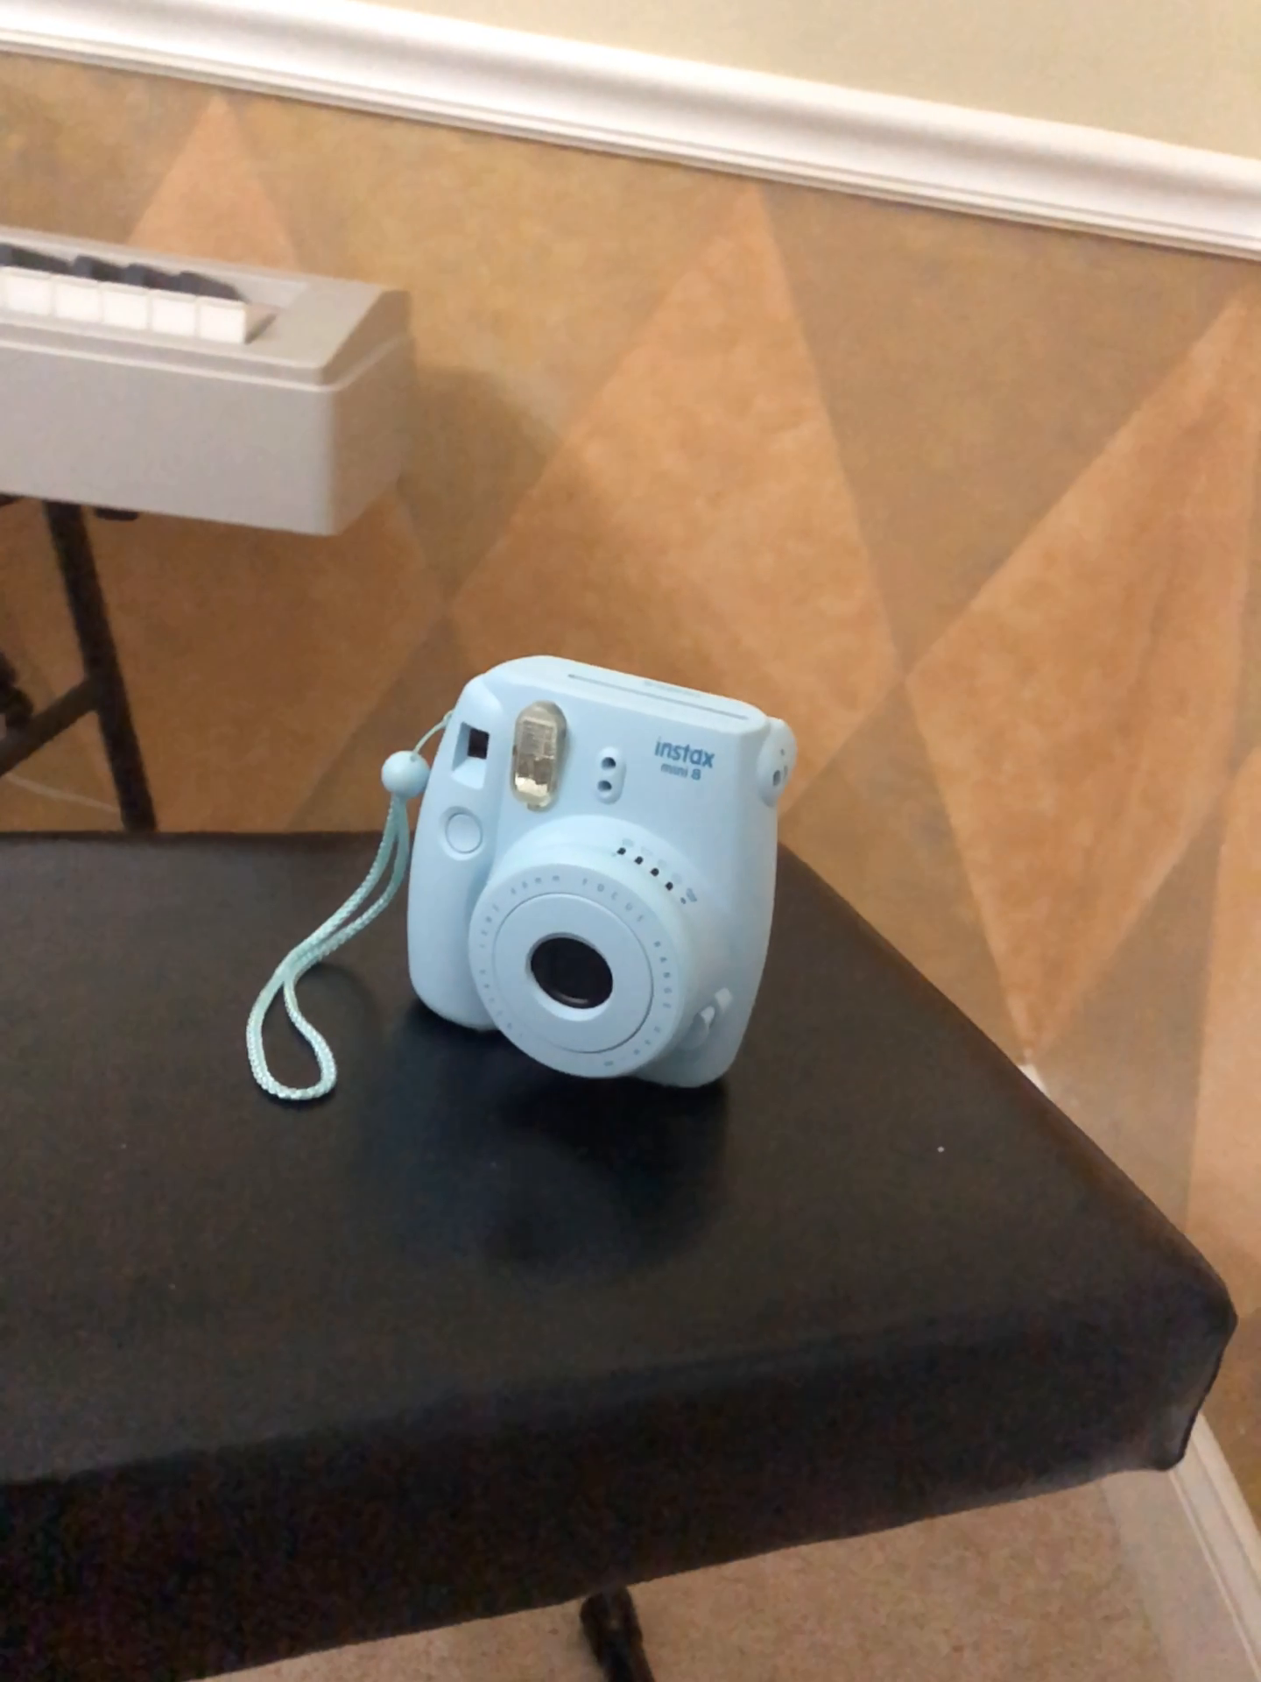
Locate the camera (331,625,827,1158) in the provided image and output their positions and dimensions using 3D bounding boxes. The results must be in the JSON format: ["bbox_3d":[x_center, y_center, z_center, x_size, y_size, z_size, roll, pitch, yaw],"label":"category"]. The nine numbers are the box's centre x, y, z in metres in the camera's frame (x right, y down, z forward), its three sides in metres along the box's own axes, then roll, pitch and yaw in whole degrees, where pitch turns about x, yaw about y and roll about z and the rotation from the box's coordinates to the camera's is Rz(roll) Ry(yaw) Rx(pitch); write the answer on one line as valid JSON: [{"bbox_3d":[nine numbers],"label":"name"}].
[{"bbox_3d":[-0.017,0.011,0.426,0.120,0.118,0.068,16,23,15],"label":"camera"}]
